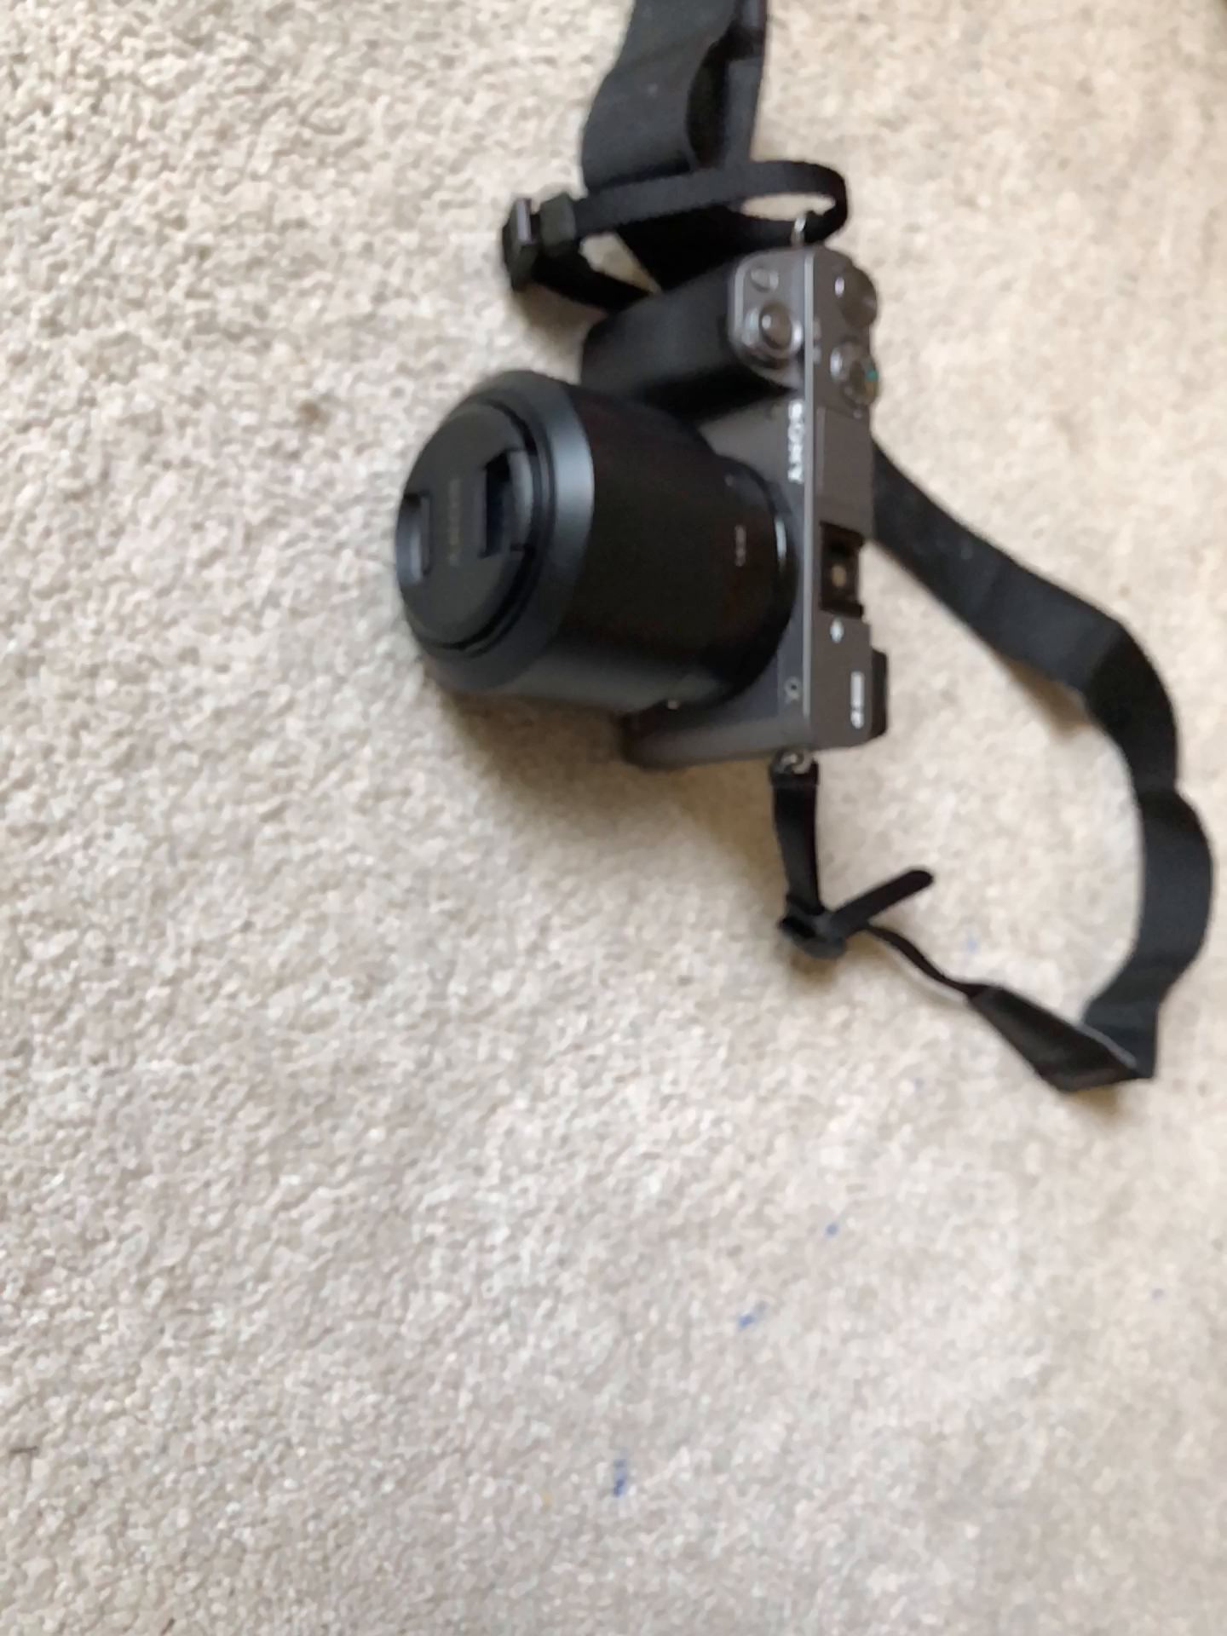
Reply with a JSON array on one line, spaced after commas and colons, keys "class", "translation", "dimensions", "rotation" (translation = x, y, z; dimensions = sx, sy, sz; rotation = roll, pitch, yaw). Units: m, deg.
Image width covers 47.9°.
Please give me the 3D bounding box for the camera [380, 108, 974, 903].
[{"class": "camera", "translation": [0.015, -0.052, 0.303], "dimensions": [0.111, 0.070, 0.140], "rotation": [3, 84, -41]}]
